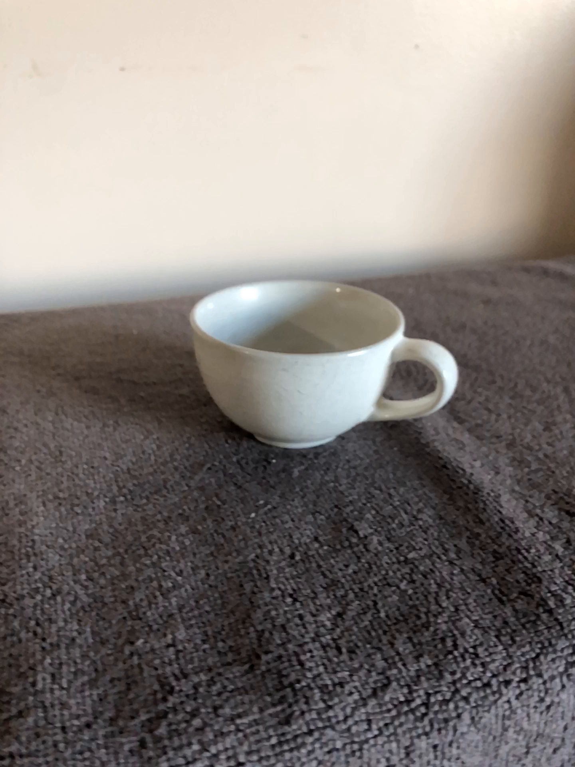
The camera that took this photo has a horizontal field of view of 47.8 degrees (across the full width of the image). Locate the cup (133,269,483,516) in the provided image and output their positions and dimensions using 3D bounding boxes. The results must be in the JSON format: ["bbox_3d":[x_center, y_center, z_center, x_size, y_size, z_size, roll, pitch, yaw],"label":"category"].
[{"bbox_3d":[0.012,-0.005,0.284,0.120,0.050,0.090,13,30,24],"label":"cup"}]
